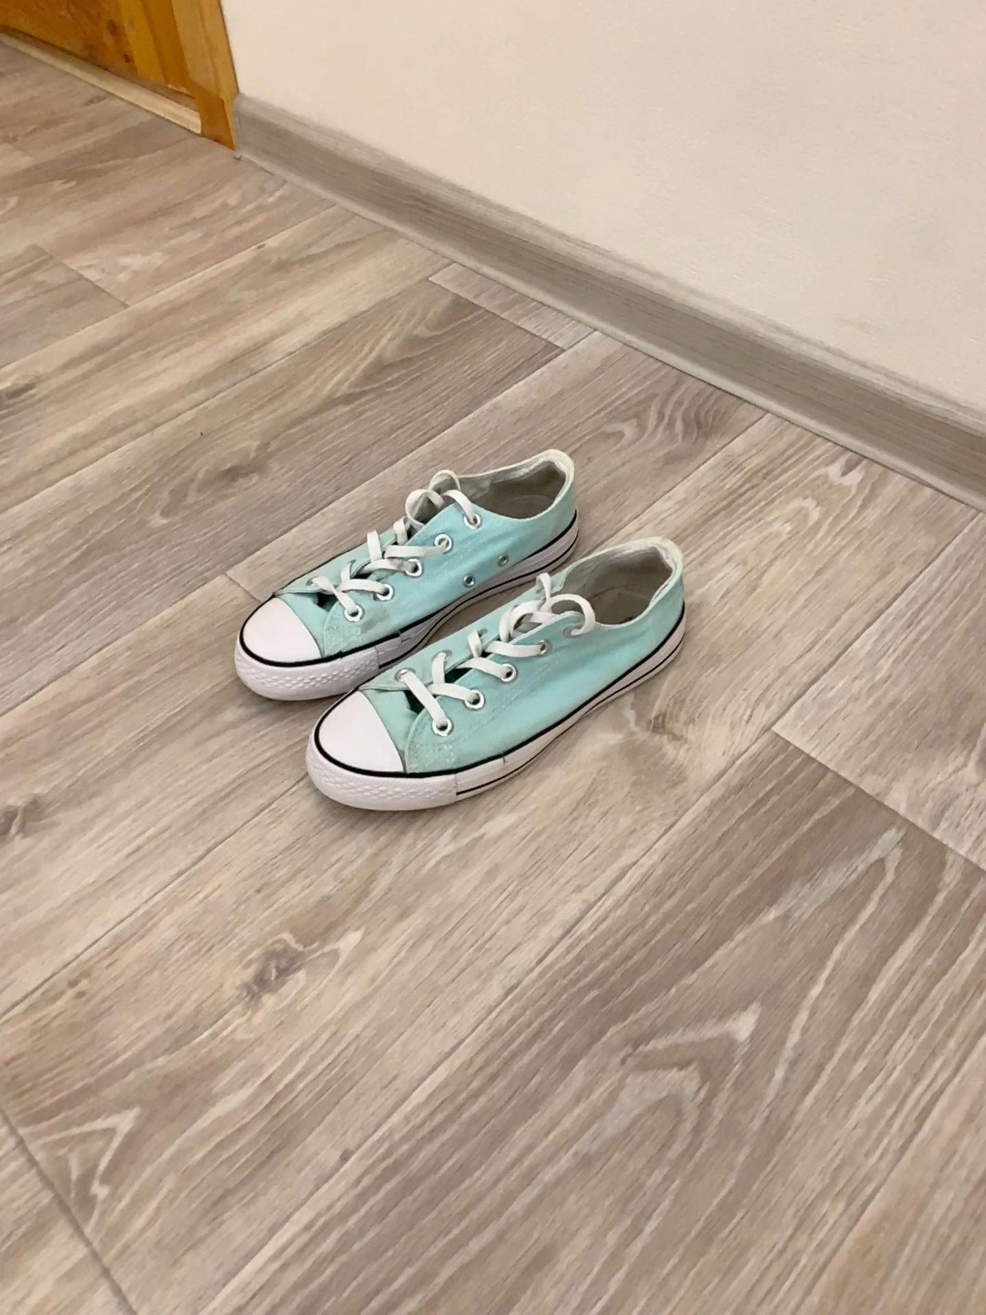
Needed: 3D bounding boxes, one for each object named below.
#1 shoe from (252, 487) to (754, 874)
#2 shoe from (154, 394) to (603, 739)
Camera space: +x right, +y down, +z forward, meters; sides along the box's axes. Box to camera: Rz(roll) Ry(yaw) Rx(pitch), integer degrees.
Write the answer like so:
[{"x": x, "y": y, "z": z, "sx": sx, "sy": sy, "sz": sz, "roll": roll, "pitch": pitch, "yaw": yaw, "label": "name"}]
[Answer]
[{"x": 0.009, "y": 0.004, "z": 0.554, "sx": 0.250, "sy": 0.060, "sz": 0.100, "roll": -27, "pitch": 53, "yaw": -19, "label": "shoe"}, {"x": -0.060, "y": -0.063, "z": 0.605, "sx": 0.250, "sy": 0.060, "sz": 0.093, "roll": -32, "pitch": 55, "yaw": -22, "label": "shoe"}]
